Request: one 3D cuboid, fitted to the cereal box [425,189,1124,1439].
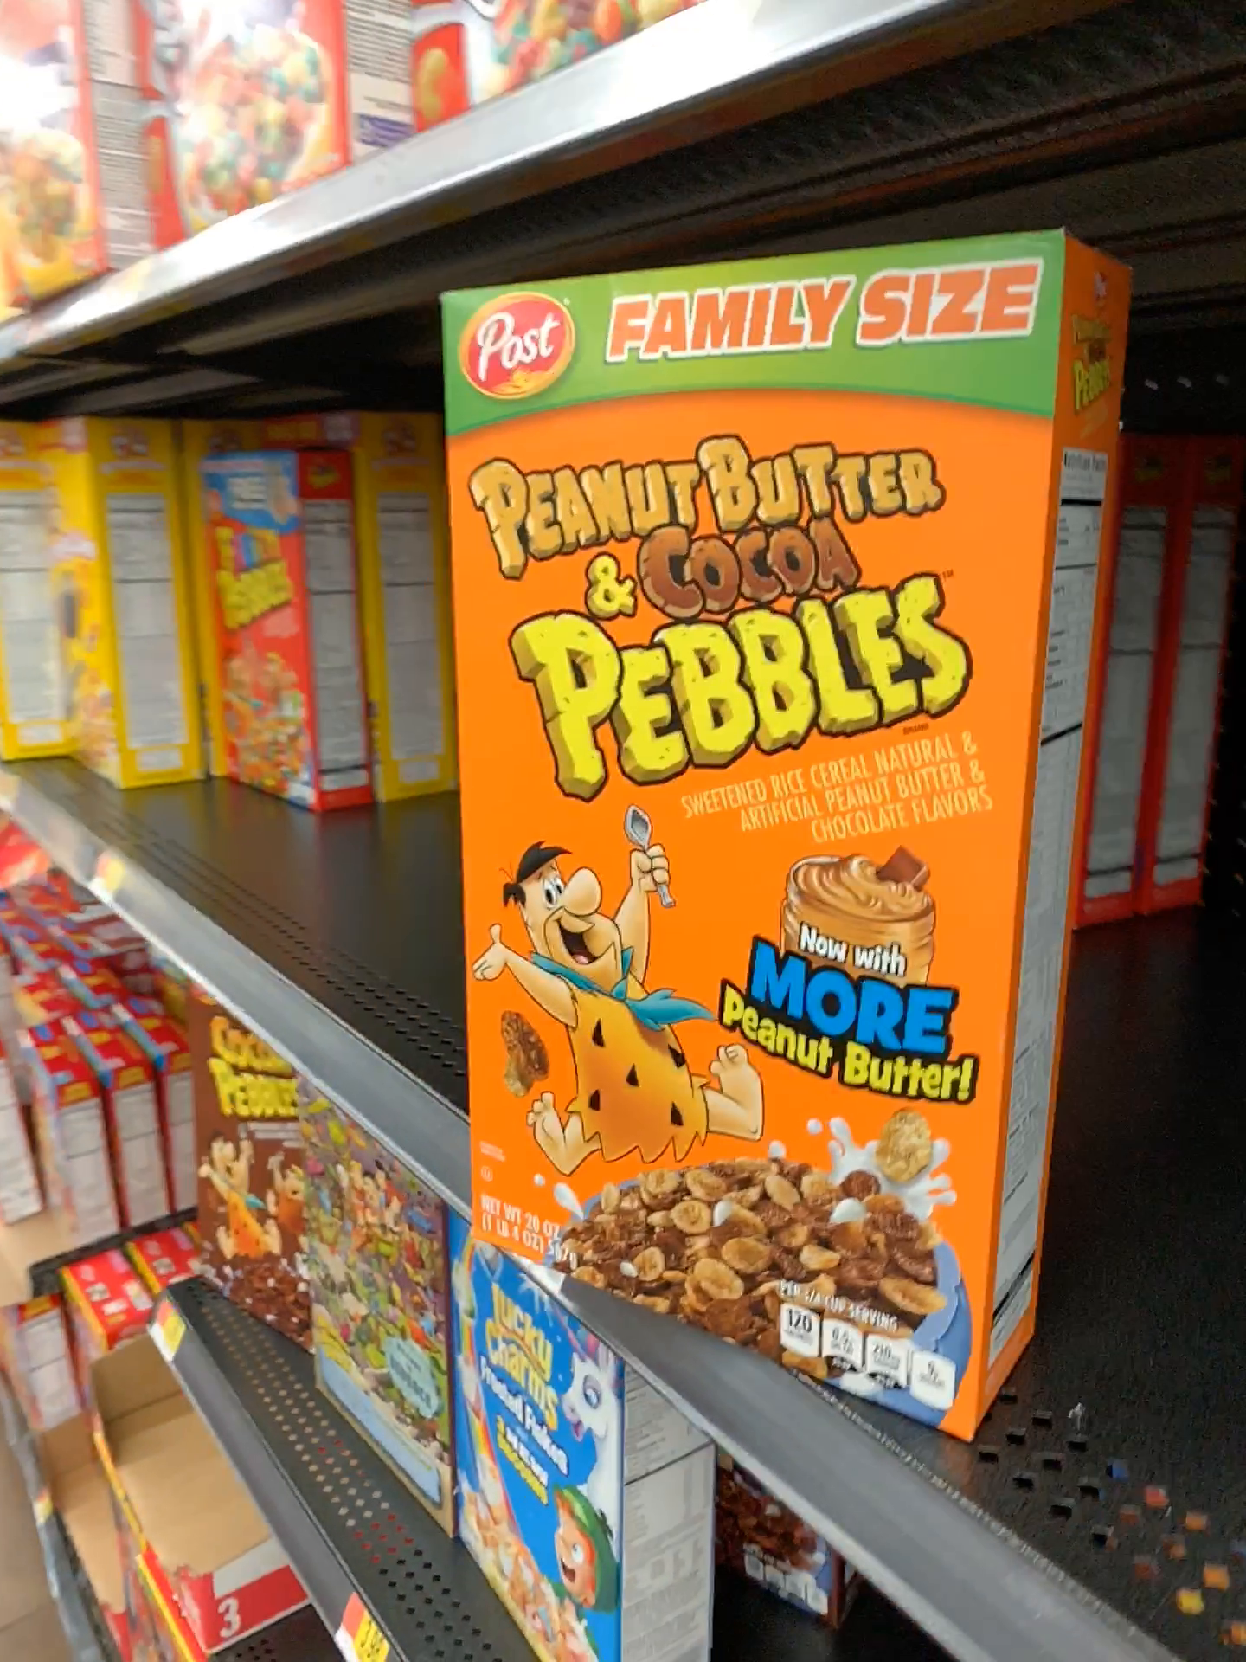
[{"bbox_3d":[0.037,-0.005,0.419,0.200,0.339,0.060,9,16,33],"label":"cereal box"}]
